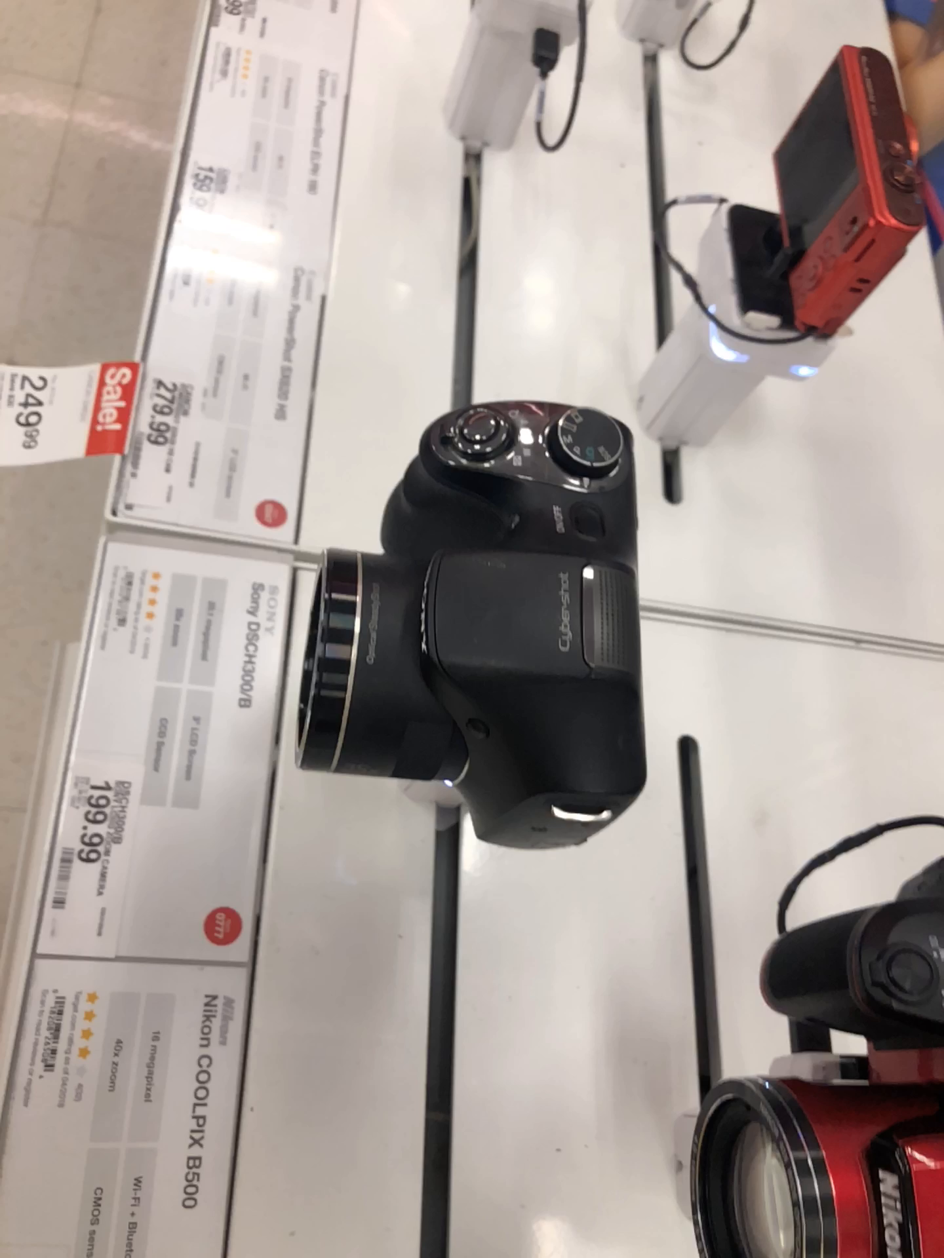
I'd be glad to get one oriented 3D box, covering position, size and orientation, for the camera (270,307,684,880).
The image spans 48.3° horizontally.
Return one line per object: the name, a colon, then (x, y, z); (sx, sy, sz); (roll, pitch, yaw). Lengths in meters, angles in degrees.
camera: (-0.002, -0.004, 0.307); (0.090, 0.090, 0.130); (8, 65, -13)
